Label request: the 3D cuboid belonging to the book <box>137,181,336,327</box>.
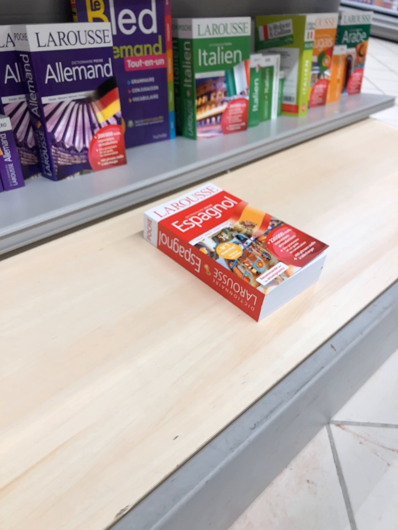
[{"bbox_3d":[0.036,-0.024,0.488,0.182,0.044,0.118,34,44,31],"label":"book"}]
